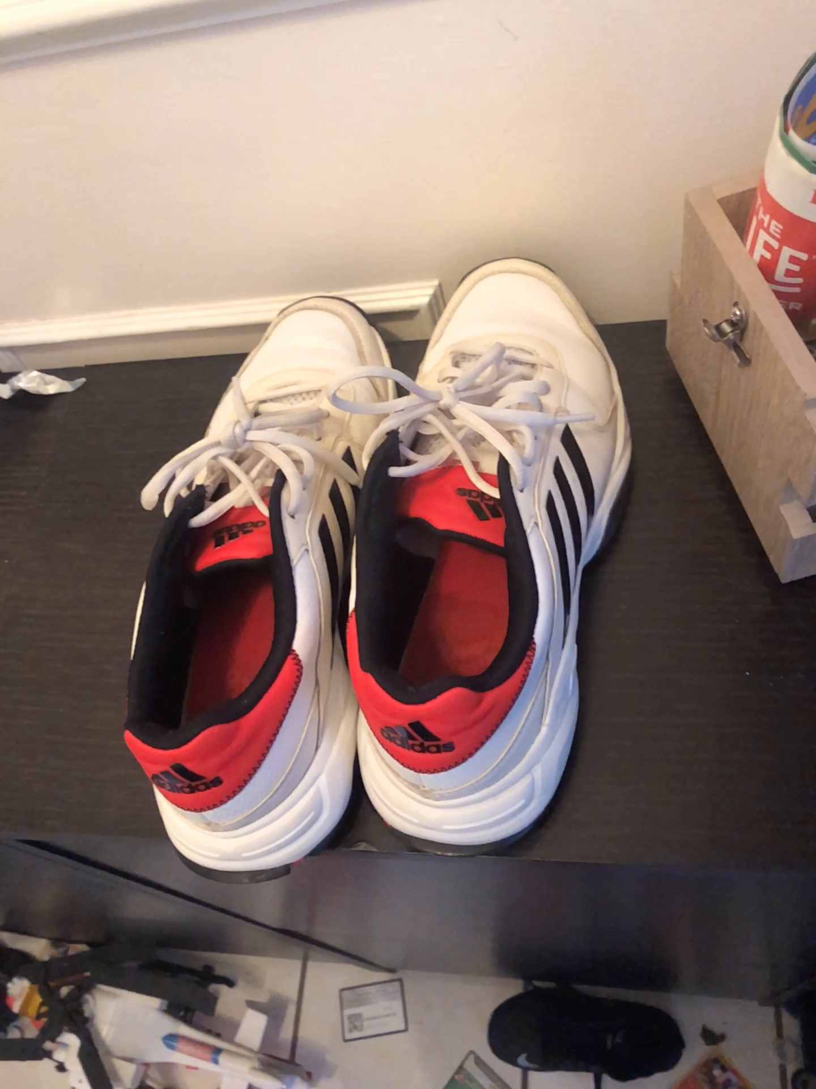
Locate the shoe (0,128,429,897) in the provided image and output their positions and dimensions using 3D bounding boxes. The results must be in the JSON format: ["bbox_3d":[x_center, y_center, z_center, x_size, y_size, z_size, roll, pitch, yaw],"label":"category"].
[{"bbox_3d":[-0.065,-0.024,0.389,0.110,0.109,0.311,-3,60,13],"label":"shoe"}]

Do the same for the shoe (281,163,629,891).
[{"bbox_3d":[0.041,-0.021,0.407,0.110,0.100,0.311,0,60,15],"label":"shoe"}]
